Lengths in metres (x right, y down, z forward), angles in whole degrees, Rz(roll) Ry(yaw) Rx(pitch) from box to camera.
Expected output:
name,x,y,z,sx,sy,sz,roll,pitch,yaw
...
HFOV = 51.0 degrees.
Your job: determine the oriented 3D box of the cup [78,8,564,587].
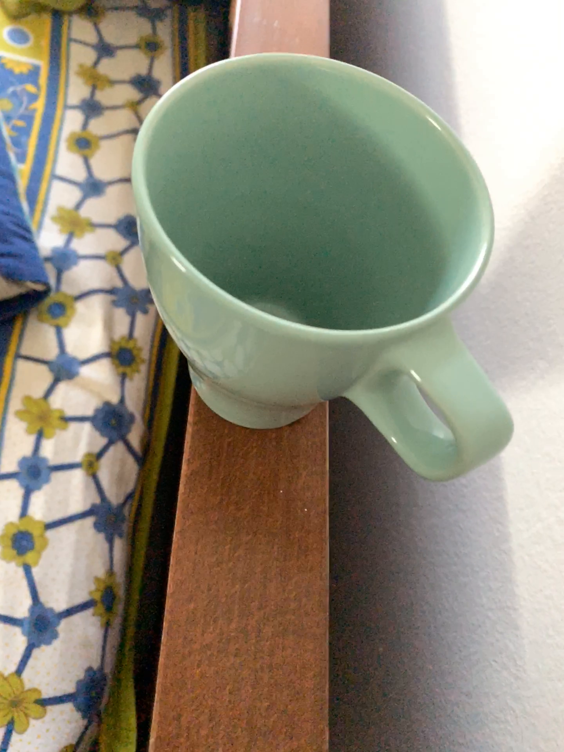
name,x,y,z,sx,sy,sz,roll,pitch,yaw
cup,0.014,-0.017,0.178,0.082,0.091,0.123,-31,75,-20
